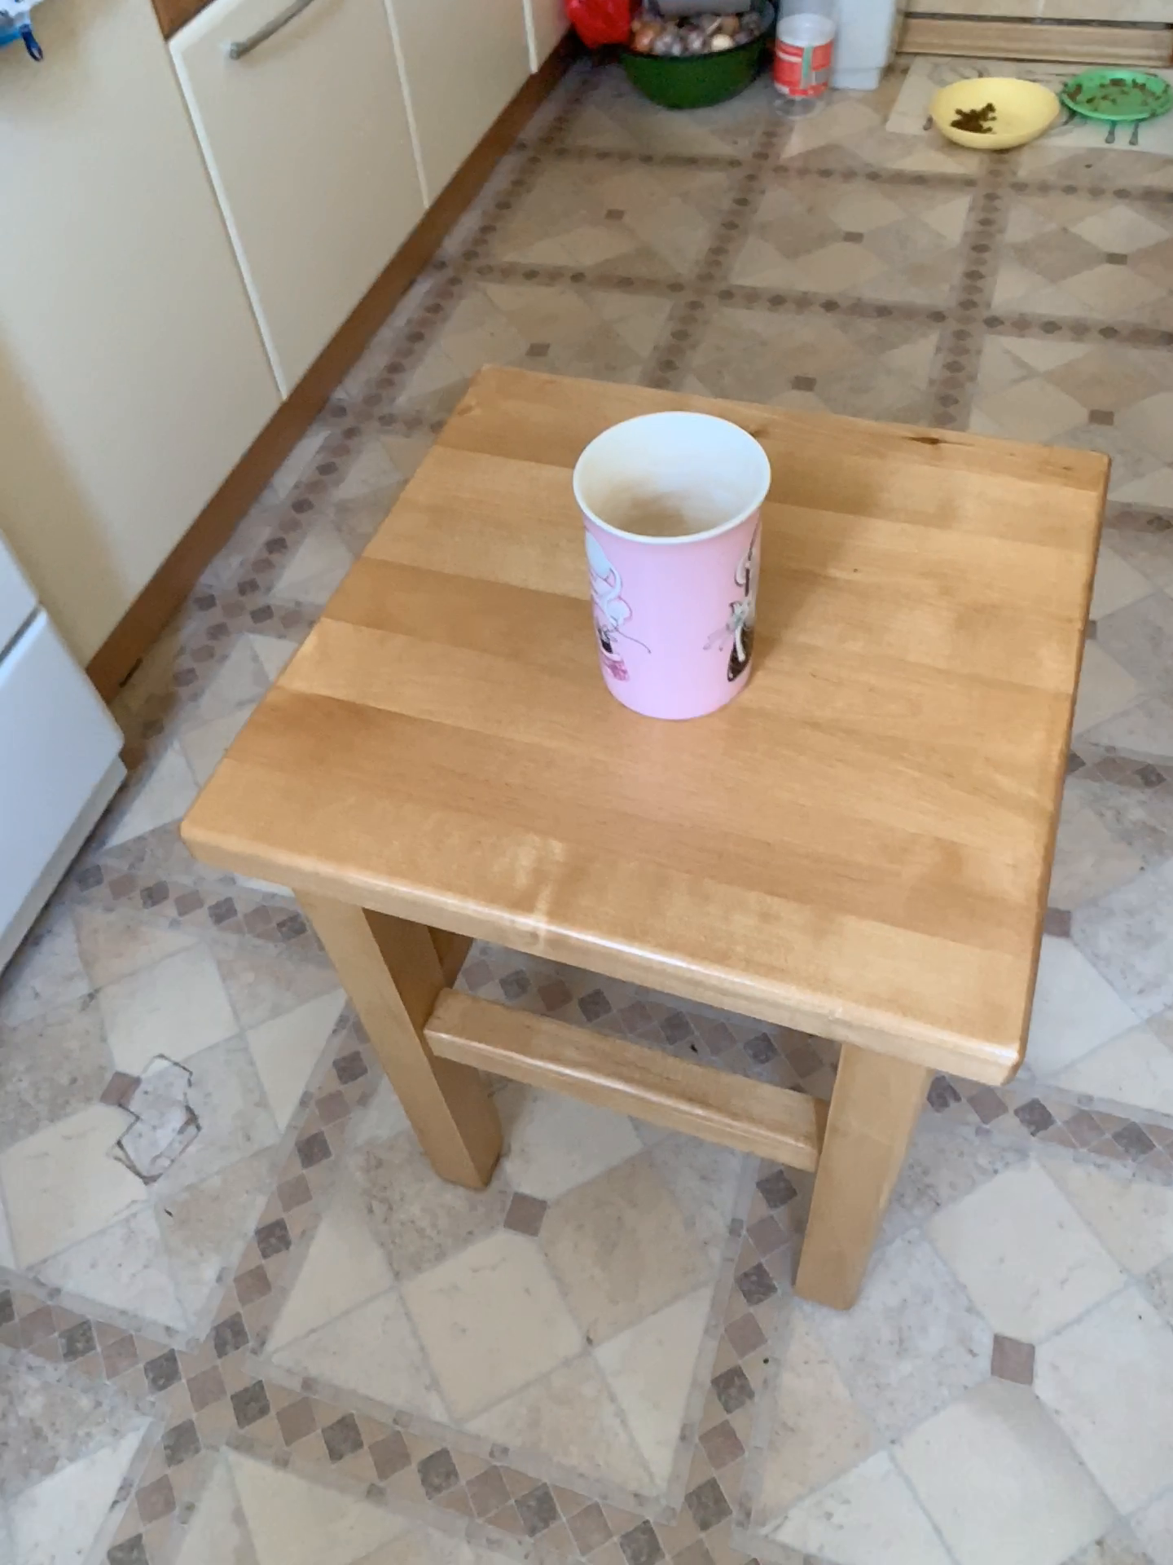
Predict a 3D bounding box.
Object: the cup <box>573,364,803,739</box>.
[{"bbox_3d":[0.041,-0.093,0.491,0.080,0.099,0.111,-1,52,5],"label":"cup"}]
